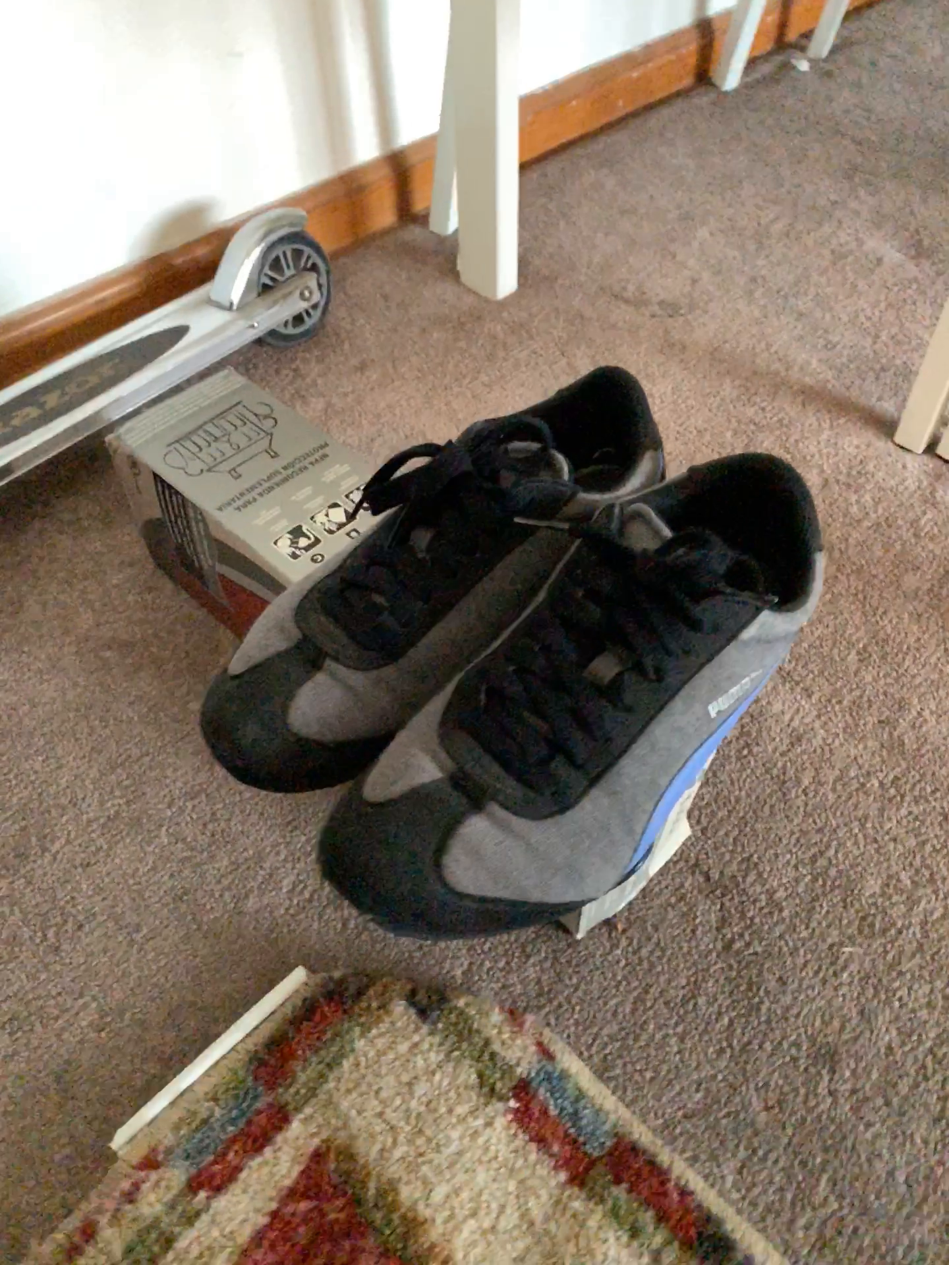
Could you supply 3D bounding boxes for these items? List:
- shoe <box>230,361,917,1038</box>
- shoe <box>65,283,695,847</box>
[{"bbox_3d":[0.046,0.012,0.370,0.100,0.099,0.241,36,59,28],"label":"shoe"},{"bbox_3d":[-0.025,-0.040,0.404,0.100,0.089,0.231,36,59,28],"label":"shoe"}]
